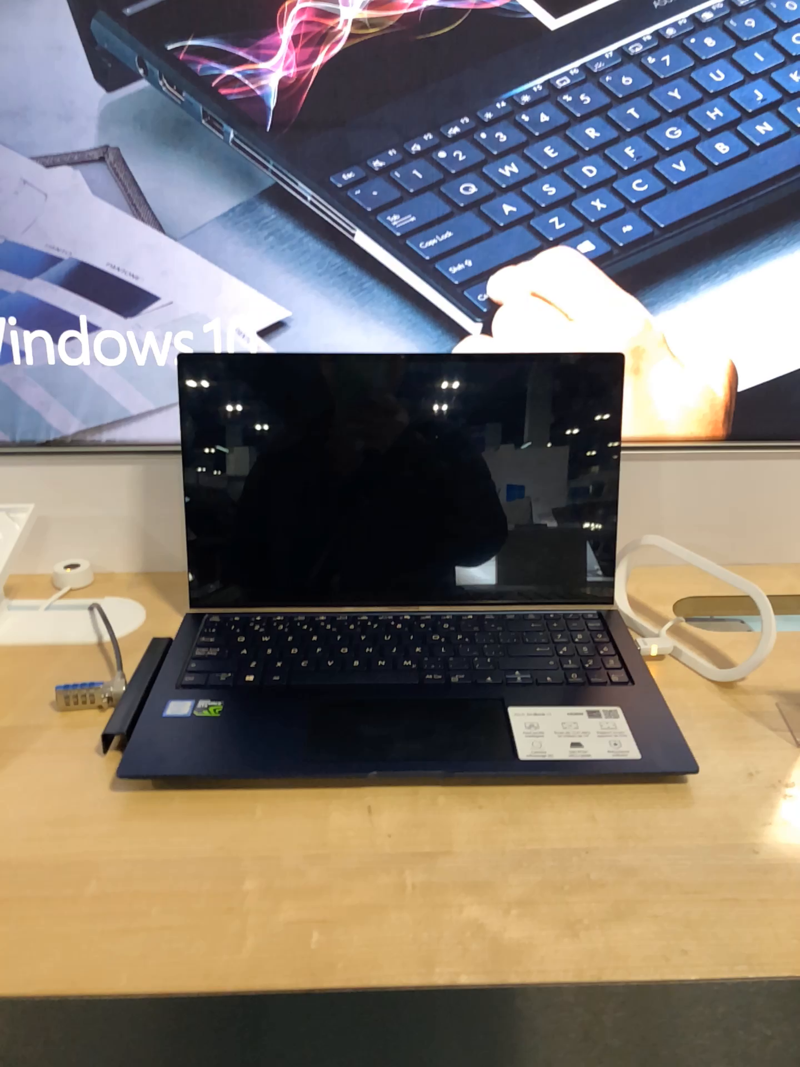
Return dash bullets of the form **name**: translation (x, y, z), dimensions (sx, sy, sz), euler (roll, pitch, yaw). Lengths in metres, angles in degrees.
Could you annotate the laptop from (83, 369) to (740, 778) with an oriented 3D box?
- **laptop**: translation (0.006, 0.008, 0.599), dimensions (0.336, 0.196, 0.250), euler (0, 21, 0)
